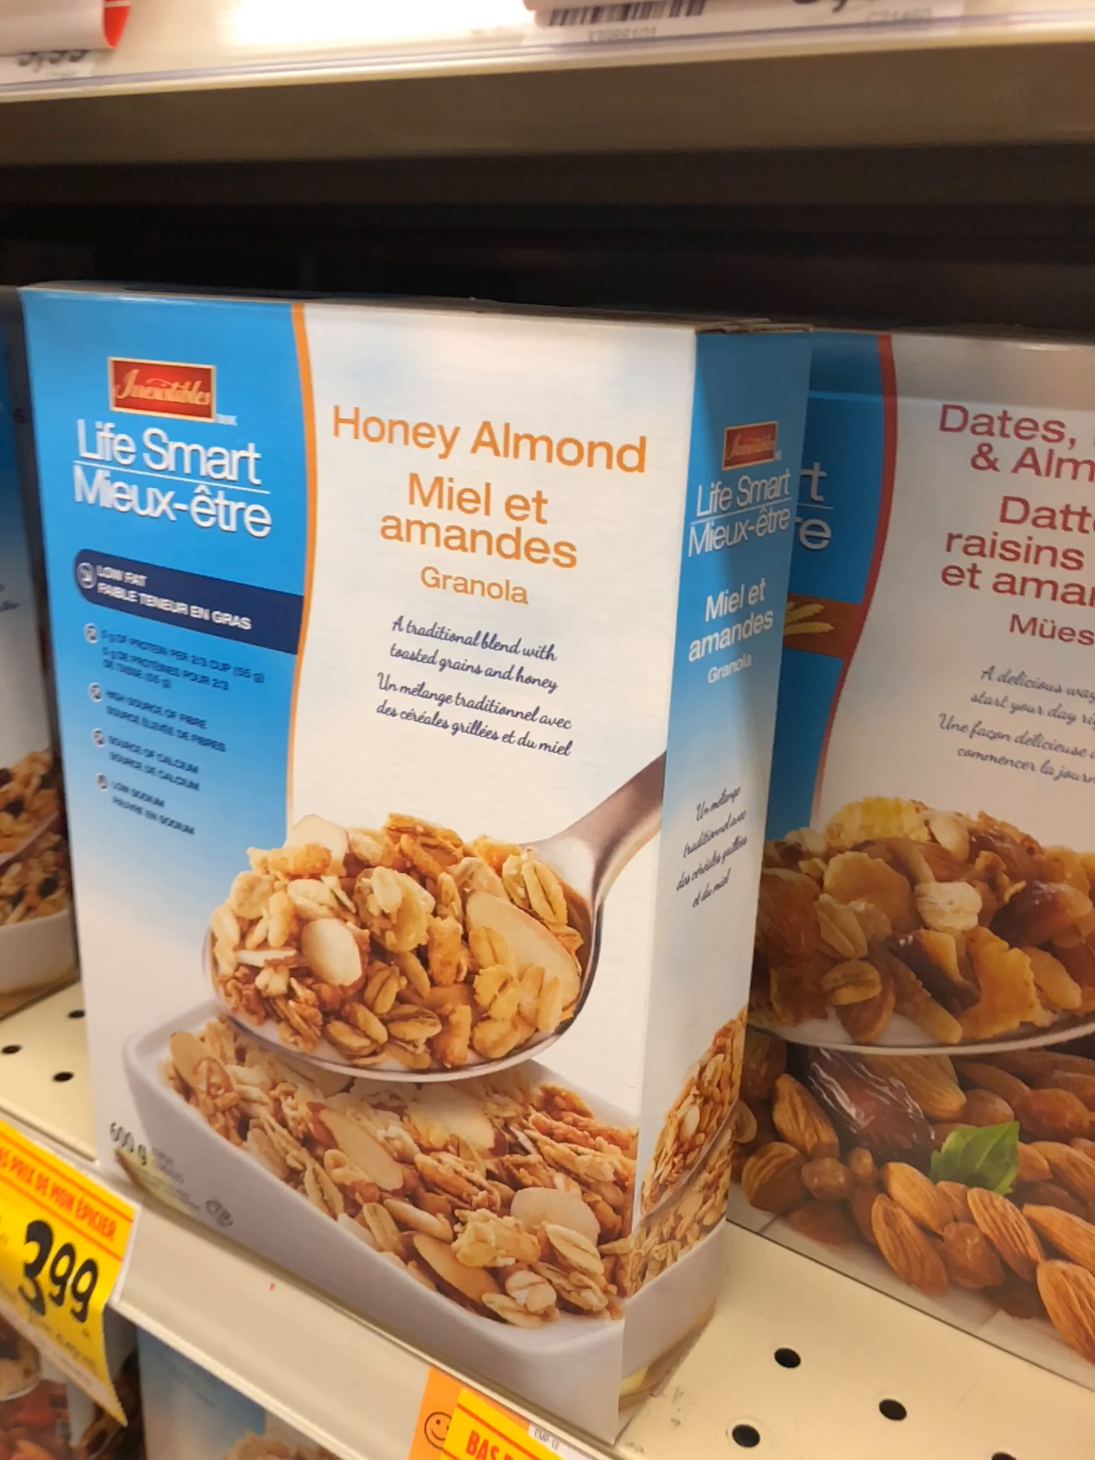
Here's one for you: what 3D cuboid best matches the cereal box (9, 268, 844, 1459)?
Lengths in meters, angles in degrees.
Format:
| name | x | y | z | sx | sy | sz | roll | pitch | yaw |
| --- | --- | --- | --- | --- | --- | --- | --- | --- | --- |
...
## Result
| name | x | y | z | sx | sy | sz | roll | pitch | yaw |
| --- | --- | --- | --- | --- | --- | --- | --- | --- | --- |
| cereal box | -0.035 | 0.020 | 0.291 | 0.170 | 0.239 | 0.060 | 14 | 23 | 29 |
